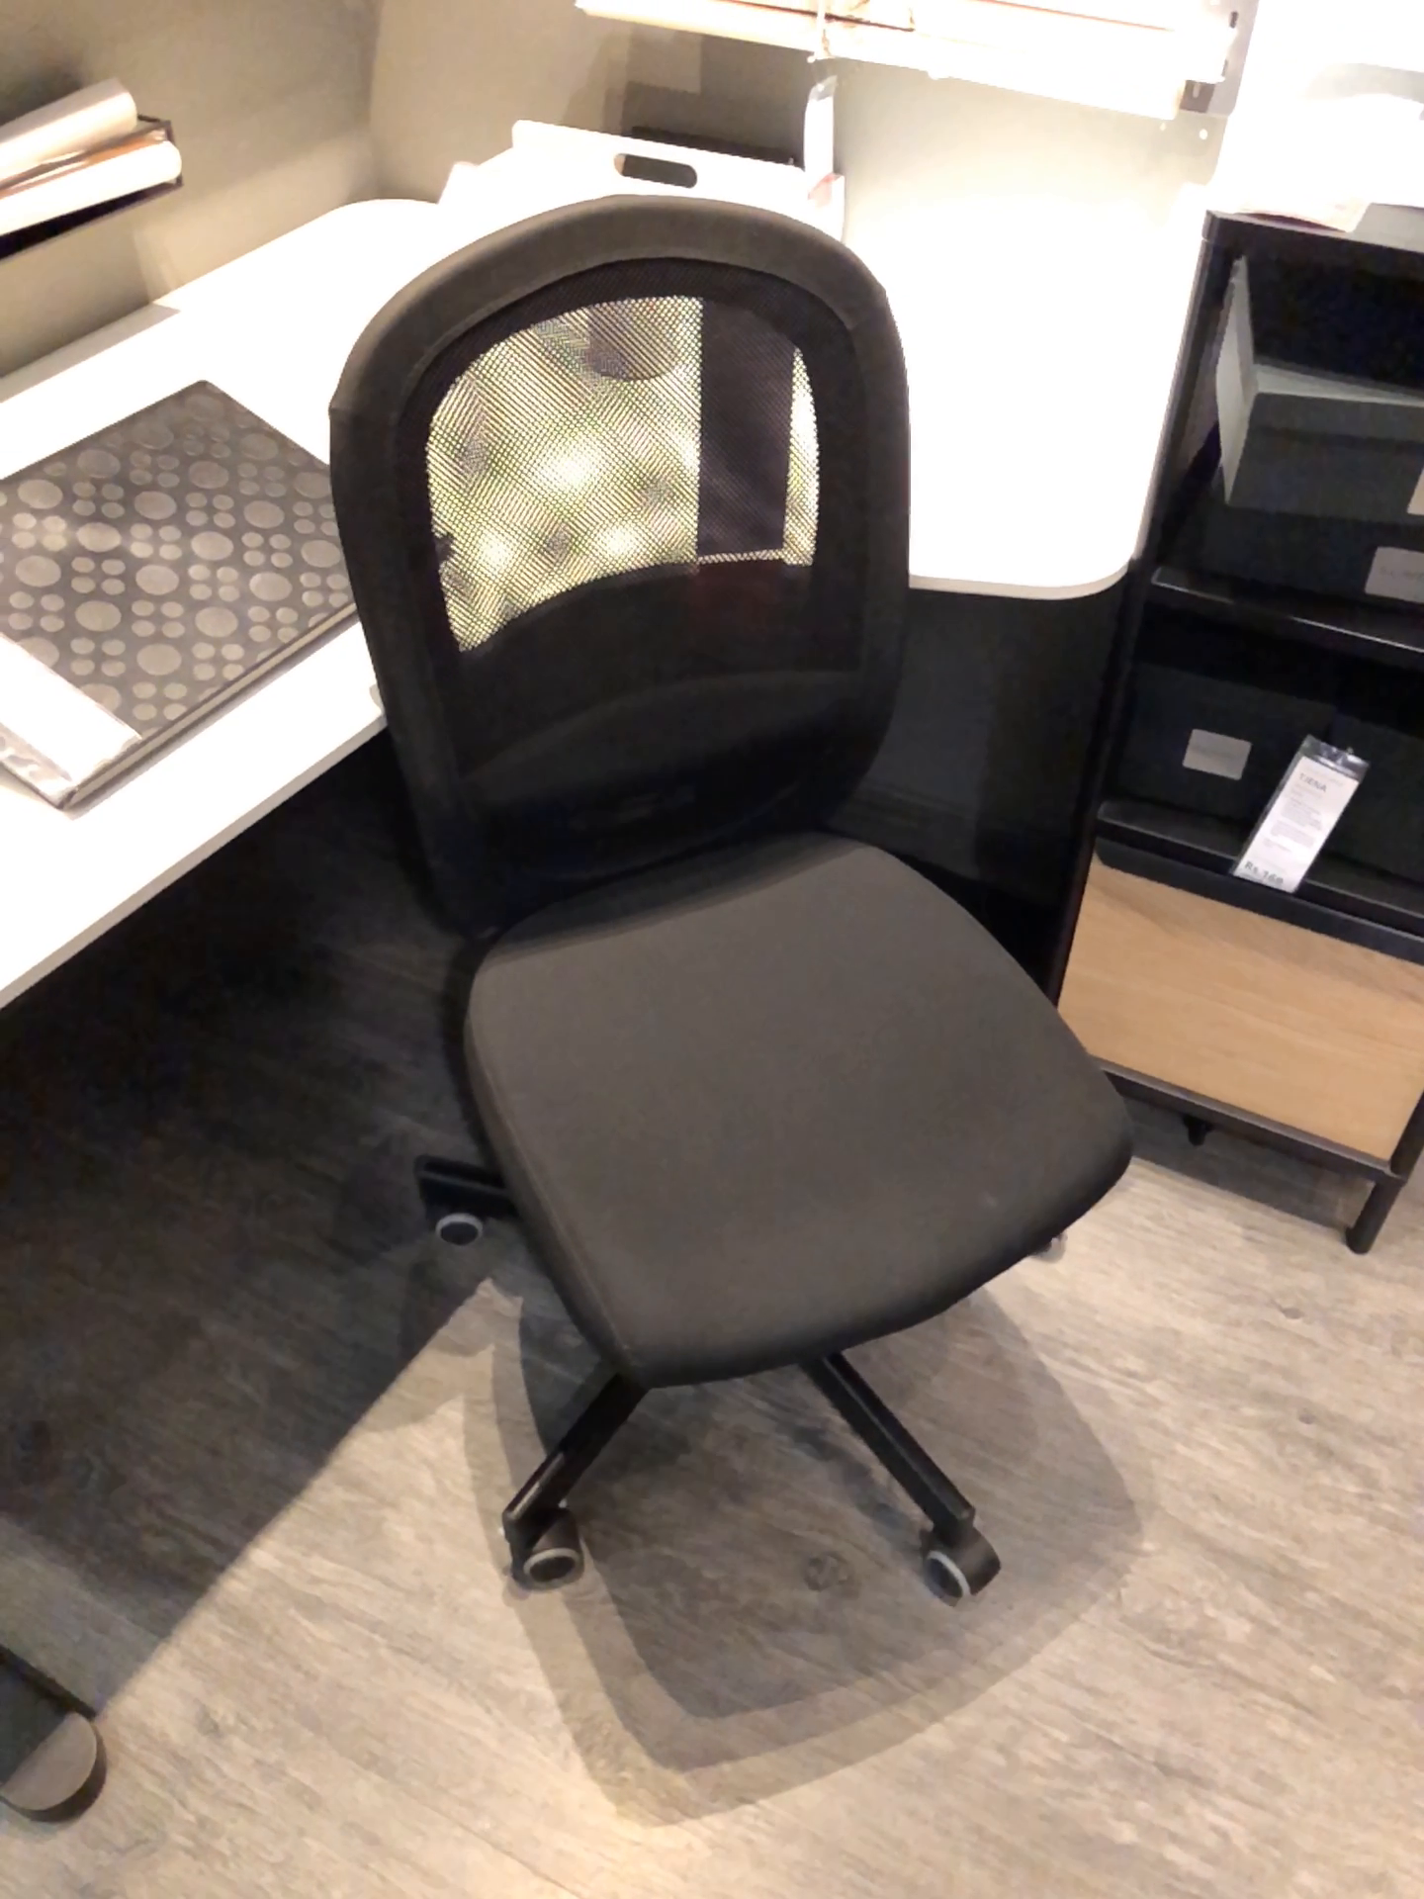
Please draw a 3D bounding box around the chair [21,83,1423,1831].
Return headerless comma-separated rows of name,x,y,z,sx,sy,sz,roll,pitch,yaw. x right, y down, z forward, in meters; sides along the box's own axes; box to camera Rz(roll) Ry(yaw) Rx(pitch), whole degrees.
chair,0.028,-0.009,1.151,0.631,0.884,0.713,-22,49,-21
